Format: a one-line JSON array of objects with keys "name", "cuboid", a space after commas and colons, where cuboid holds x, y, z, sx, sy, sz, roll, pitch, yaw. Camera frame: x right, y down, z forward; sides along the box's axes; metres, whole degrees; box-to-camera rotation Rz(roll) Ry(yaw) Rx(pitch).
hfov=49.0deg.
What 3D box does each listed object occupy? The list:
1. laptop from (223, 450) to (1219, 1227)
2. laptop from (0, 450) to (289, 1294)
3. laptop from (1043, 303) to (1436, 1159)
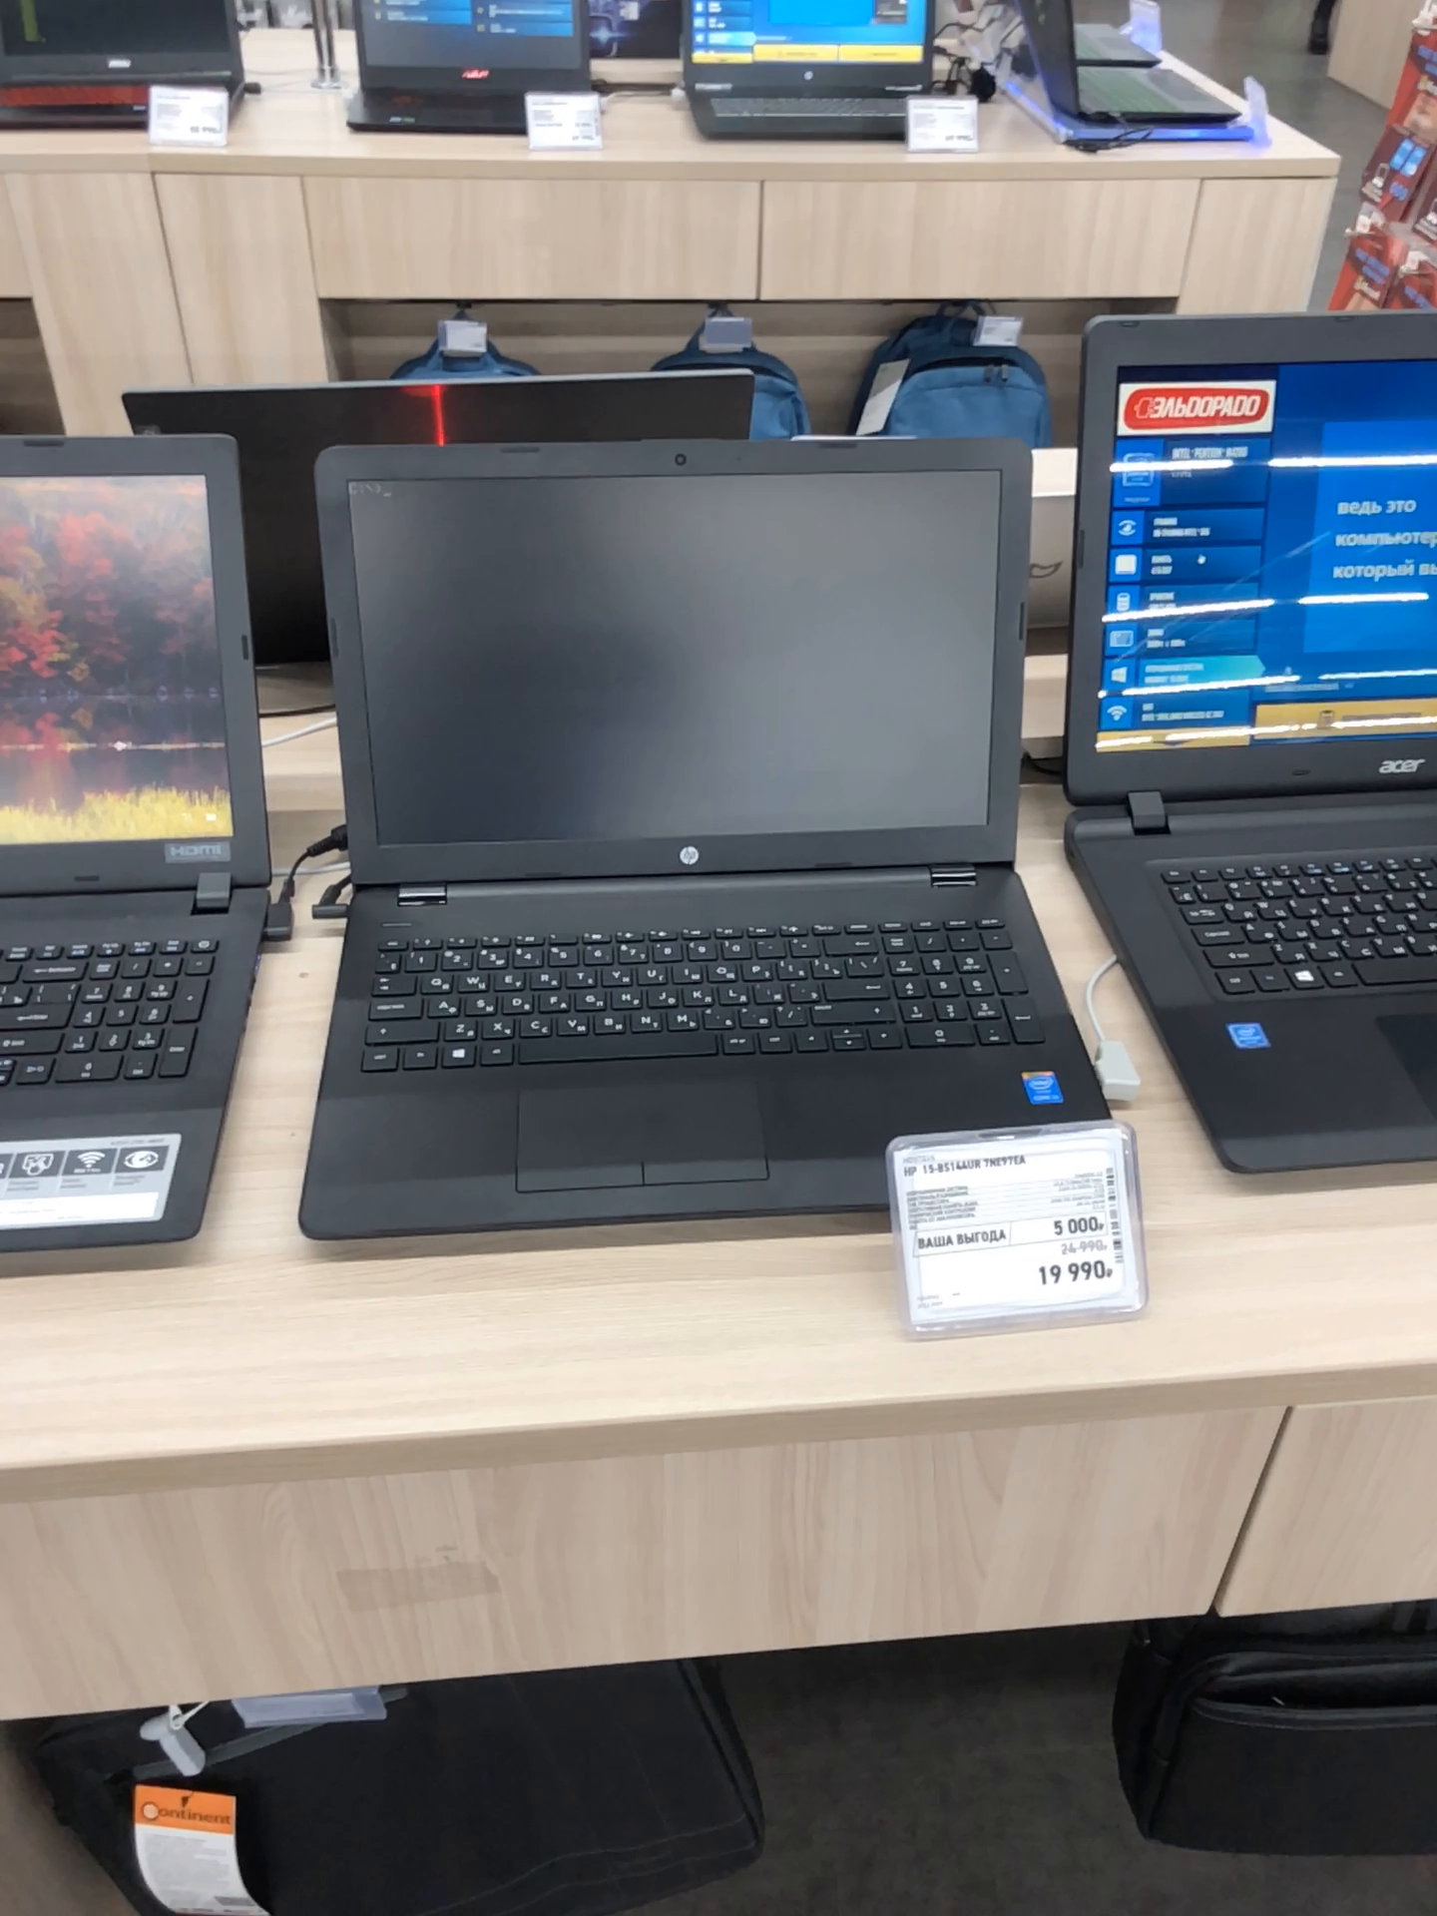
[{"name": "laptop", "cuboid": [-0.016, -0.078, 0.788, 0.377, 0.215, 0.335, -3, 40, -5]}, {"name": "laptop", "cuboid": [-0.439, -0.067, 0.758, 0.359, 0.226, 0.352, -2, 38, -6]}, {"name": "laptop", "cuboid": [0.425, -0.144, 0.830, 0.396, 0.267, 0.397, -2, 38, -3]}]
